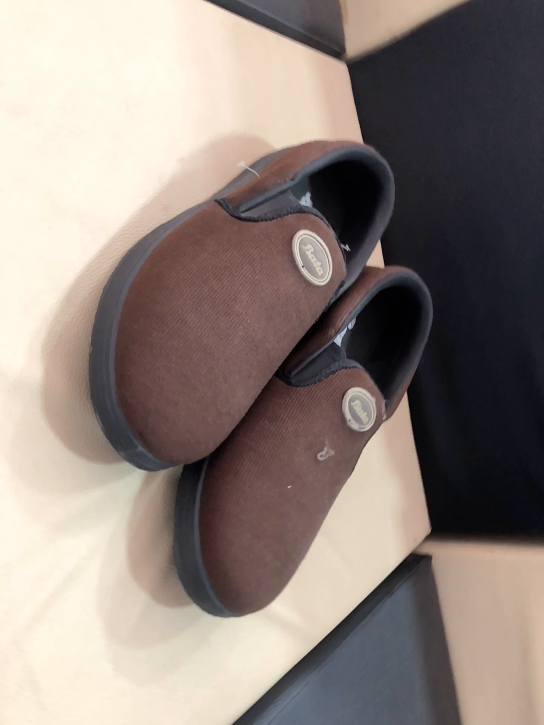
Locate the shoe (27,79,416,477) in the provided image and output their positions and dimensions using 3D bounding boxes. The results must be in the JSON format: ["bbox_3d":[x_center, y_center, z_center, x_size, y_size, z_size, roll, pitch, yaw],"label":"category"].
[{"bbox_3d":[-0.006,-0.060,0.353,0.090,0.089,0.251,58,44,-28],"label":"shoe"}]

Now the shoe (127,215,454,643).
[{"bbox_3d":[0.035,0.022,0.389,0.090,0.079,0.271,58,44,-28],"label":"shoe"}]
